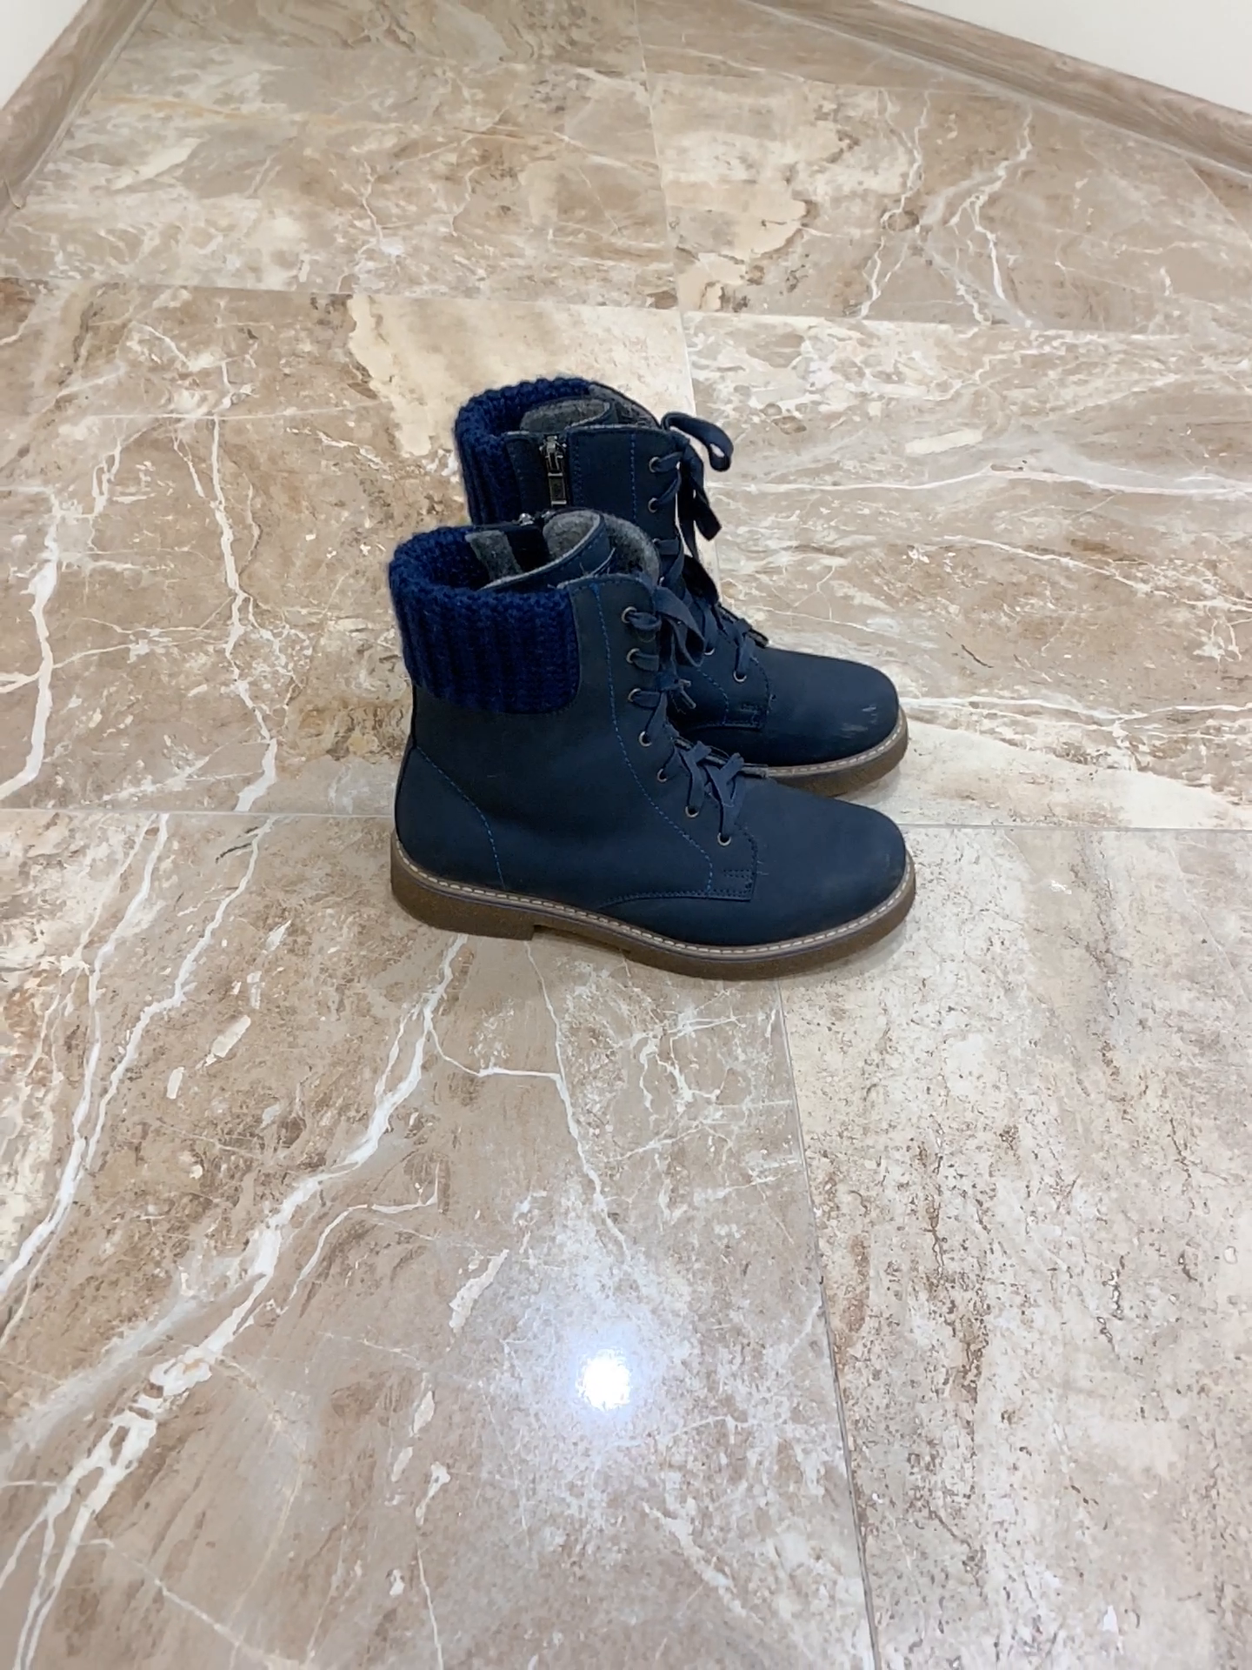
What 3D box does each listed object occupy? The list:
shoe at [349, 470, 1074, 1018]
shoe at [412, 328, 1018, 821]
[{"bbox_3d":[0.027,-0.032,0.565,0.260,0.199,0.102,6,47,0],"label":"shoe"},{"bbox_3d":[0.034,-0.126,0.654,0.260,0.199,0.102,6,47,0],"label":"shoe"}]
